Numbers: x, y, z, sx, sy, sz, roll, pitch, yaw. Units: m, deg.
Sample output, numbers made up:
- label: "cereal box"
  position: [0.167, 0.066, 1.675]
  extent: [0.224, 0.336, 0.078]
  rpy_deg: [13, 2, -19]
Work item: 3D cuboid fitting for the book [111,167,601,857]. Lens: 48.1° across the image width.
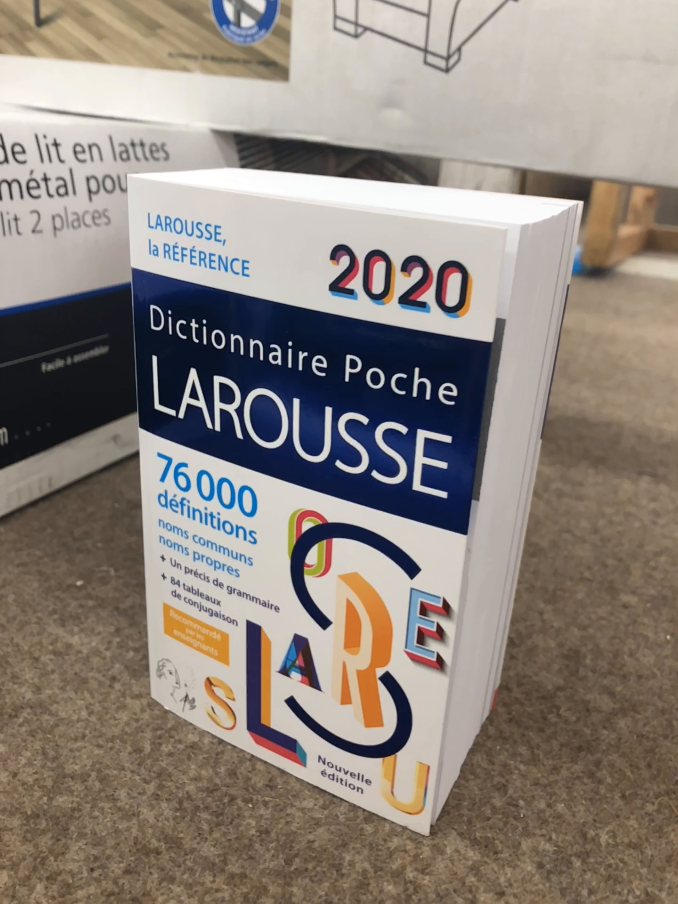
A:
- label: "book"
  position: [0.000, 0.012, 0.230]
  extent: [0.111, 0.173, 0.061]
  rpy_deg: [15, 26, 25]
